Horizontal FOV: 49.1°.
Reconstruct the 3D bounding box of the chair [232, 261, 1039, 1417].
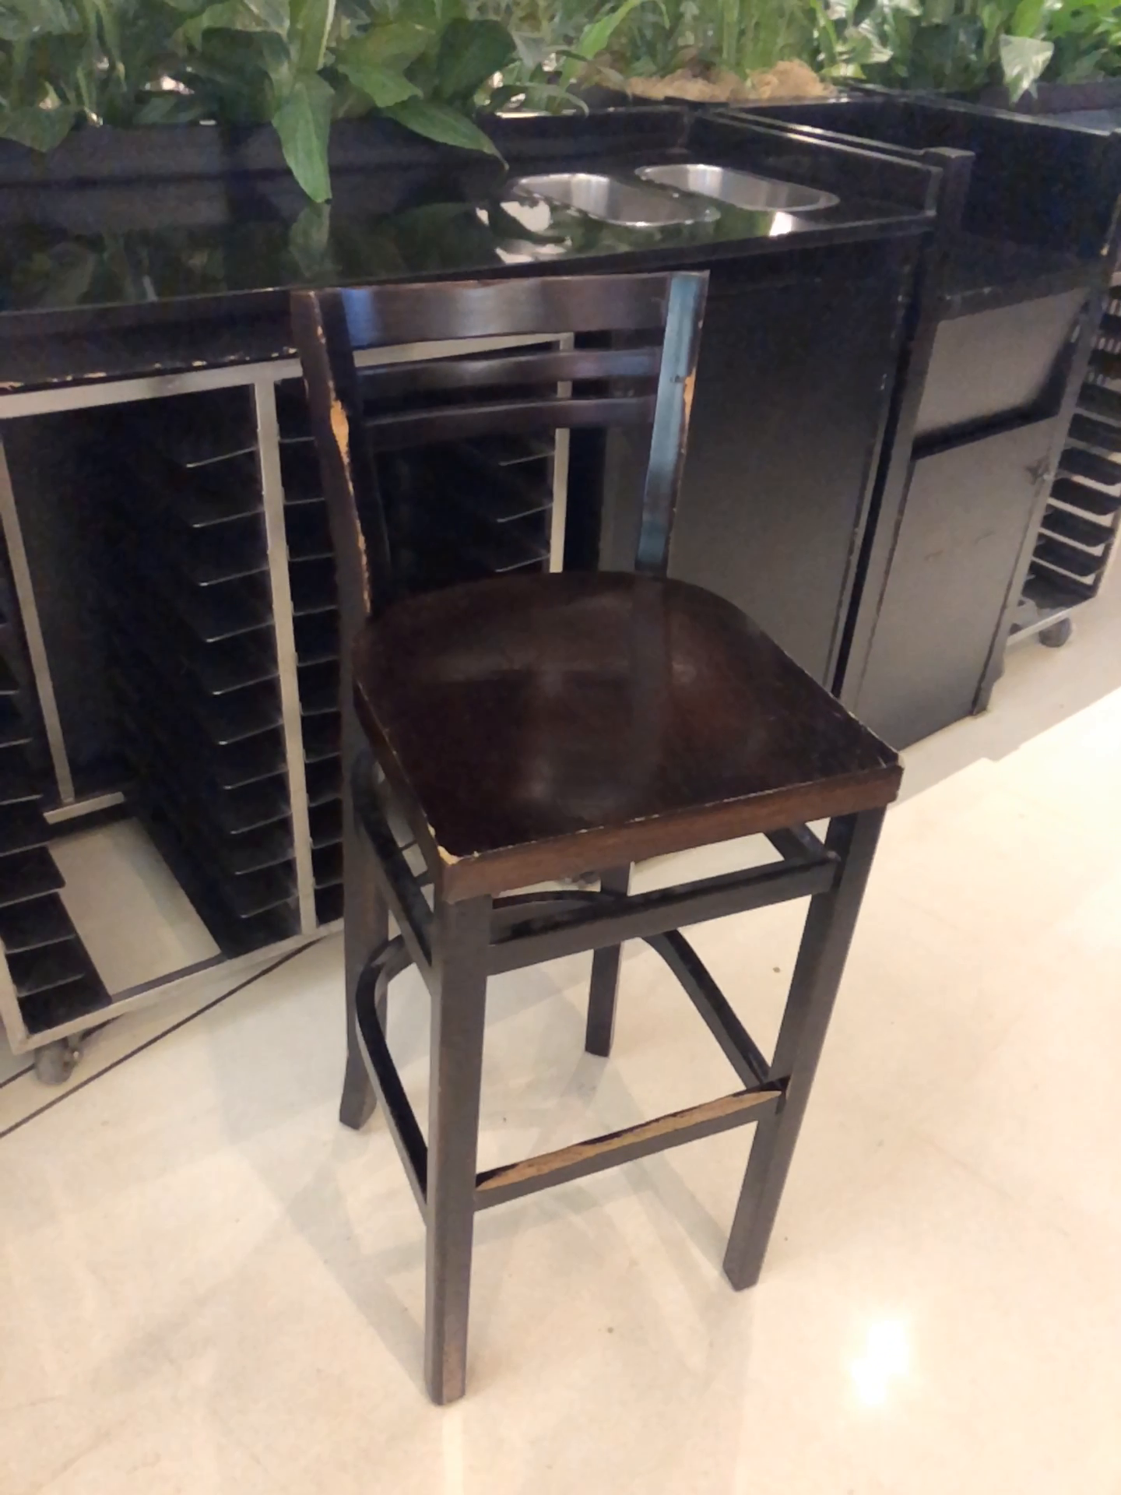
[{"bbox_3d":[0.005,0.086,1.149,0.441,0.913,0.453,-11,36,-20],"label":"chair"}]
